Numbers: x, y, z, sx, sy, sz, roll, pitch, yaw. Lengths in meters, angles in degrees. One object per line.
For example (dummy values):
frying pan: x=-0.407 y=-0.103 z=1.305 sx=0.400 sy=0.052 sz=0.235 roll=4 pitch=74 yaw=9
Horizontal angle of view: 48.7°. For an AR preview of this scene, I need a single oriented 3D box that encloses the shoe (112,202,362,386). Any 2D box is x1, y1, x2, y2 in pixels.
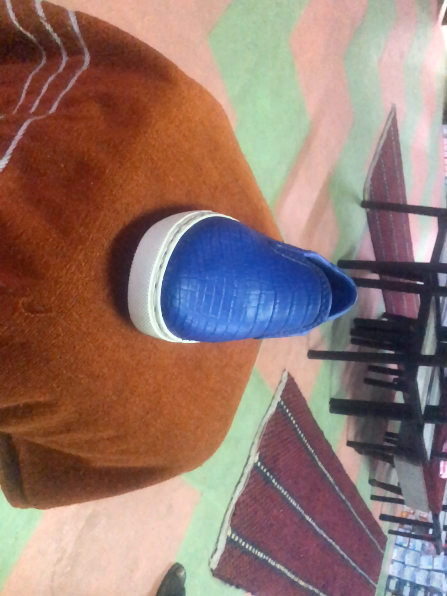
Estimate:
shoe: x=0.039 y=-0.012 z=0.445 sx=0.302 sy=0.079 sz=0.110 roll=-5 pitch=100 yaw=-59
